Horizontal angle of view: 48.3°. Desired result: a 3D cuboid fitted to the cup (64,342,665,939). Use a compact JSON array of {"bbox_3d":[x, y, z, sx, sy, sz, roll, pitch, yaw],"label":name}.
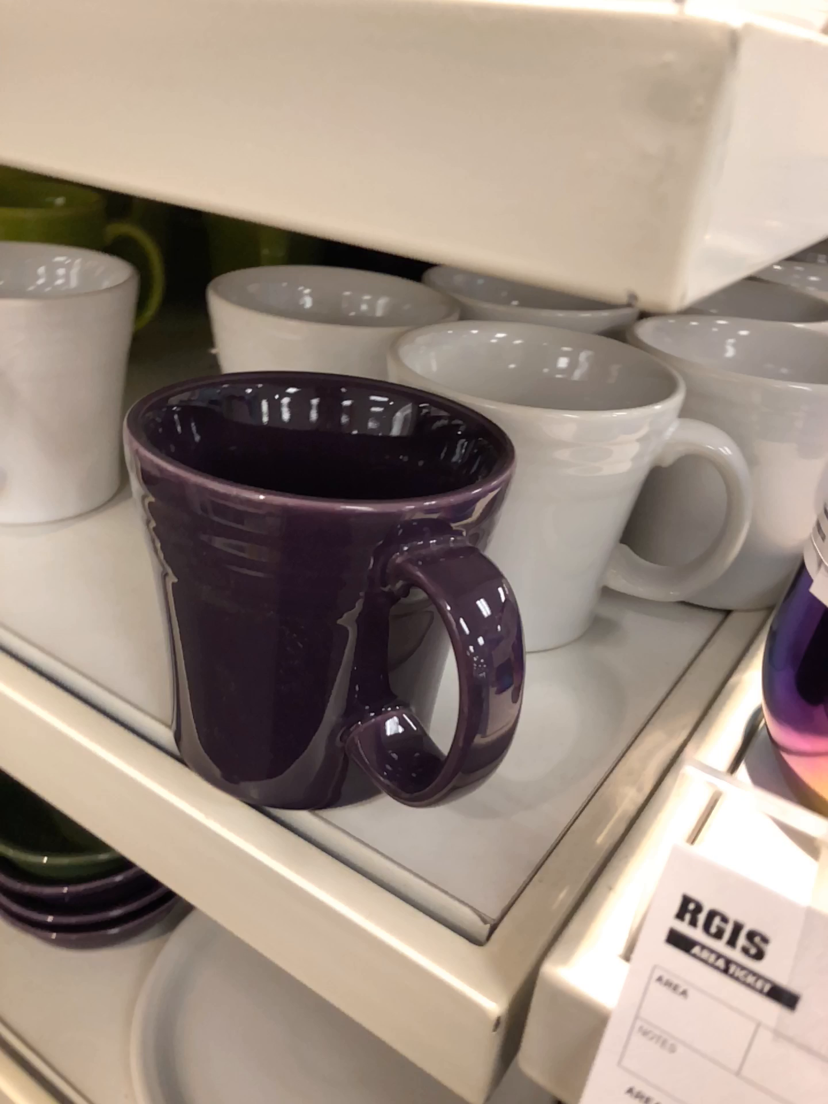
[{"bbox_3d":[-0.016,0.013,0.262,0.127,0.099,0.090,22,33,27],"label":"cup"}]
